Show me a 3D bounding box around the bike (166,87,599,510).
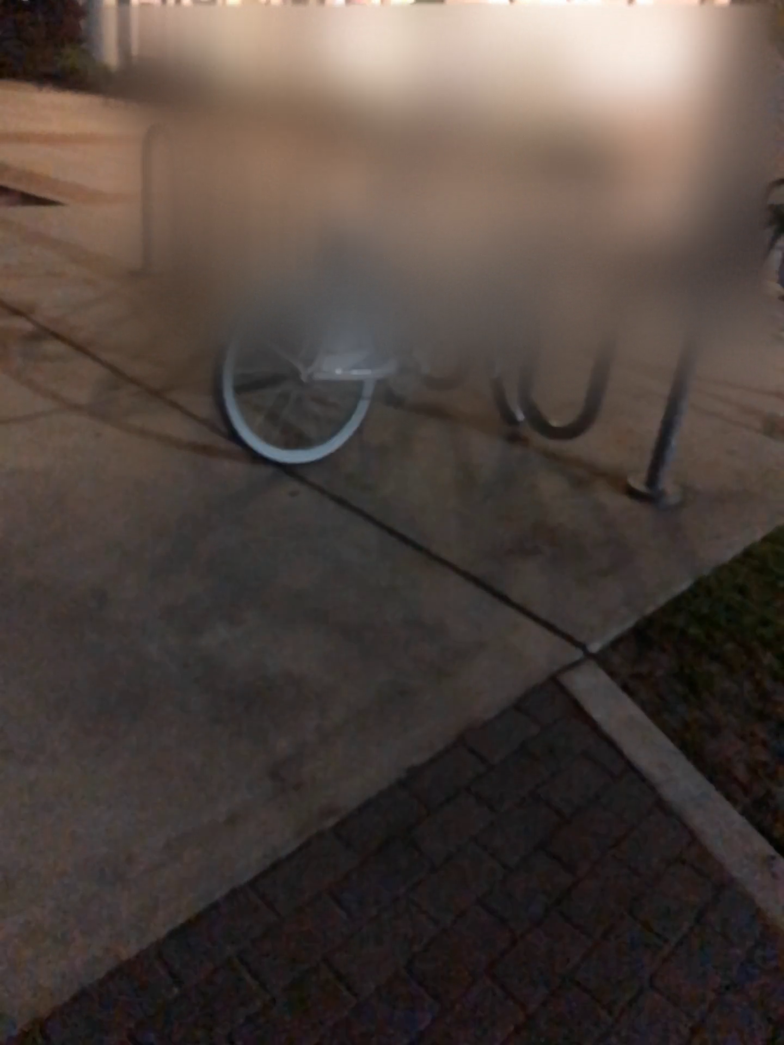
[{"bbox_3d":[-0.024,-1.003,3.352,0.741,1.094,1.685,27,37,35],"label":"bike"}]
